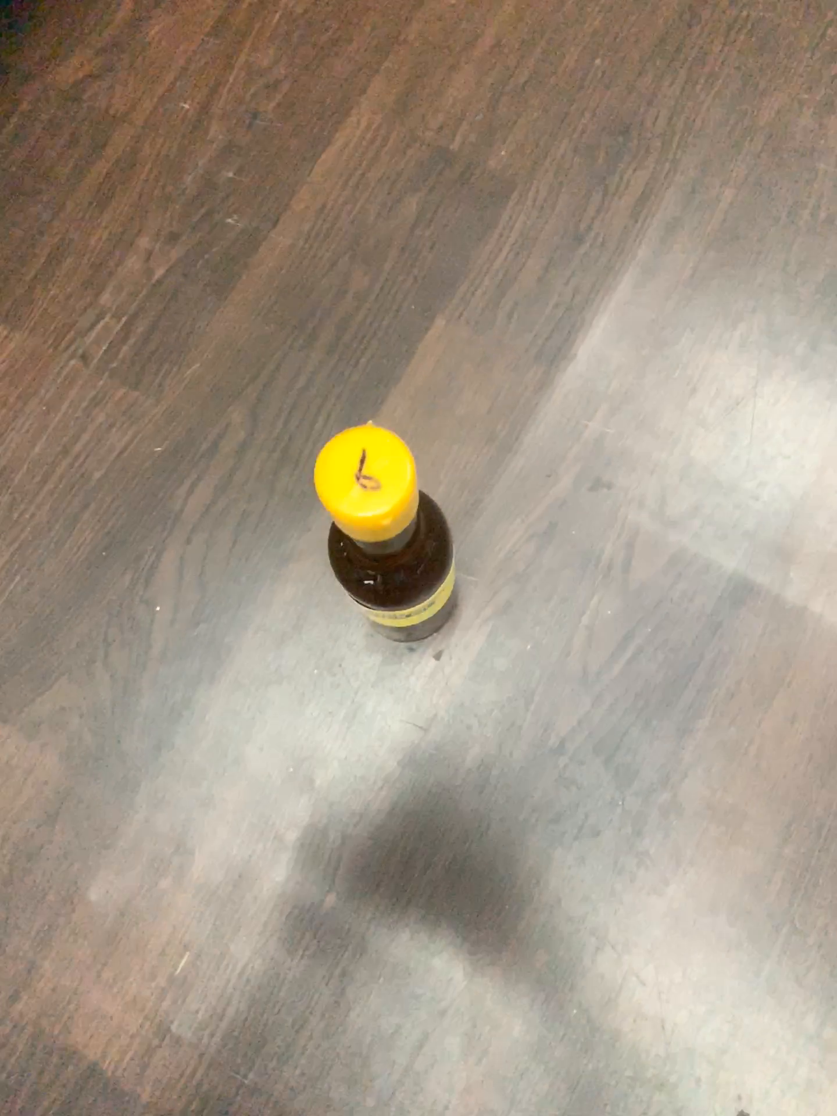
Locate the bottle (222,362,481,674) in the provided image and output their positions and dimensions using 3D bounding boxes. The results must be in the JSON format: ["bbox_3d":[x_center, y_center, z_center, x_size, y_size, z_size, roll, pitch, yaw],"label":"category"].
[{"bbox_3d":[-0.013,-0.001,0.312,0.060,0.170,0.060,-1,76,3],"label":"bottle"}]
